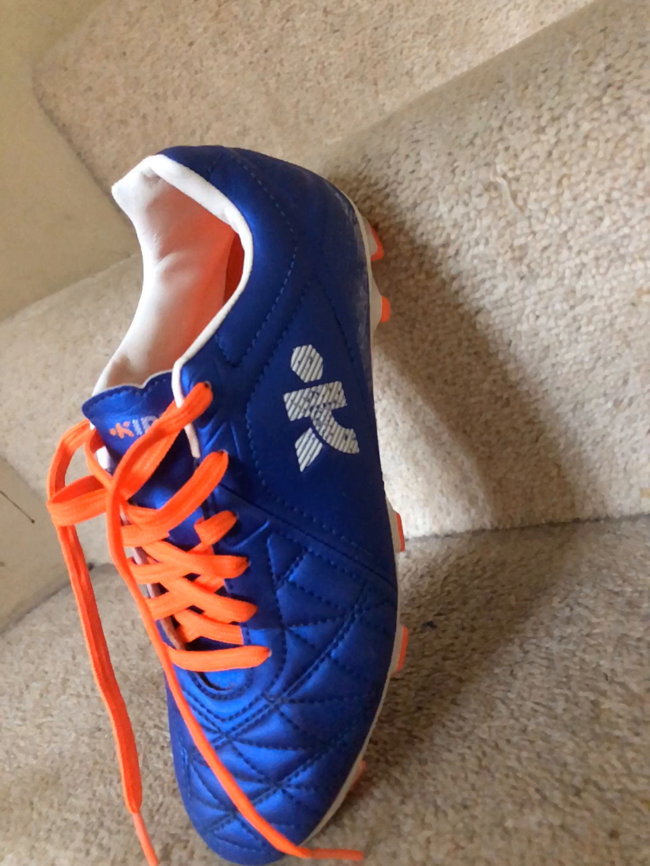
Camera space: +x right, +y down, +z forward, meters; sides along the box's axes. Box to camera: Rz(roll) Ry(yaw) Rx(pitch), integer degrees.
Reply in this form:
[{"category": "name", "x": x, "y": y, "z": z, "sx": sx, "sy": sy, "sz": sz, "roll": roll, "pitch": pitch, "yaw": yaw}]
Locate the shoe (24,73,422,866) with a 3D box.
[{"category": "shoe", "x": -0.026, "y": 0.014, "z": 0.239, "sx": 0.070, "sy": 0.211, "sz": 0.100, "roll": -8, "pitch": -13, "yaw": 41}]
